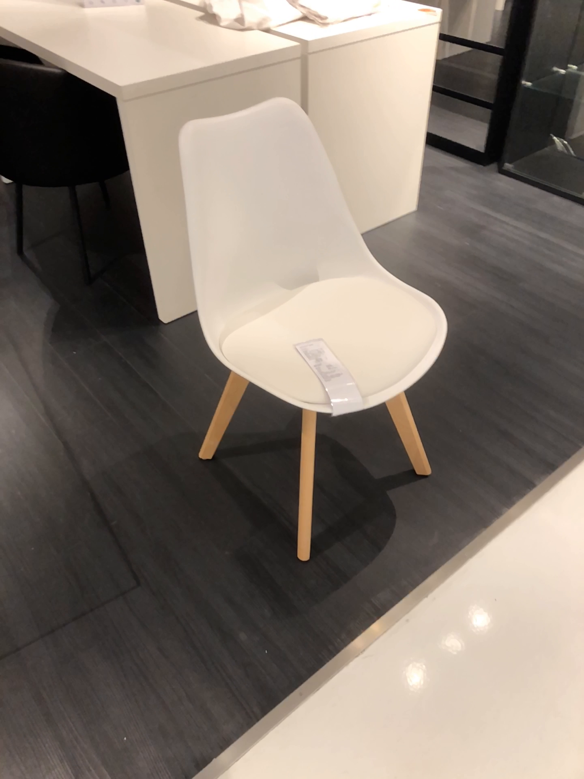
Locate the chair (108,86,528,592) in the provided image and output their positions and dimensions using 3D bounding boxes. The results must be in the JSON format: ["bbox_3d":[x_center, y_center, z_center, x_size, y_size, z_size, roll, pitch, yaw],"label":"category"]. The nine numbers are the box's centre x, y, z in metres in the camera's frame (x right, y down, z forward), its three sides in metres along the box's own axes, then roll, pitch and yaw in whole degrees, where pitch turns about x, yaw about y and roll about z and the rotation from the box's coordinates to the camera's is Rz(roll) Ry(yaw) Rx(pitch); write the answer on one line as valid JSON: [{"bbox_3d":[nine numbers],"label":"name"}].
[{"bbox_3d":[0.032,-0.117,1.352,0.502,0.784,0.532,-26,46,-27],"label":"chair"}]
